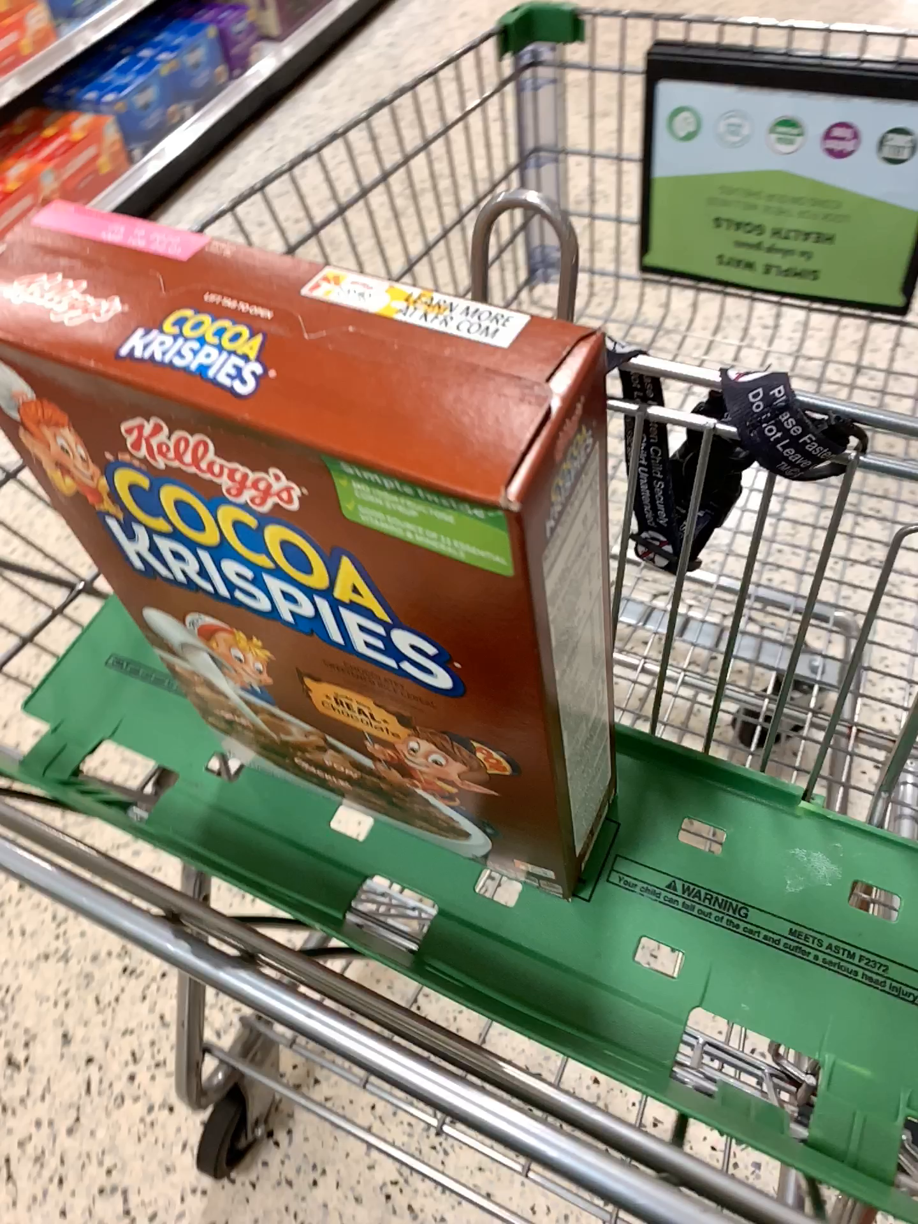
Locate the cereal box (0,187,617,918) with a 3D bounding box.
[{"bbox_3d":[-0.045,0.006,0.373,0.200,0.307,0.060,20,62,22],"label":"cereal box"}]
